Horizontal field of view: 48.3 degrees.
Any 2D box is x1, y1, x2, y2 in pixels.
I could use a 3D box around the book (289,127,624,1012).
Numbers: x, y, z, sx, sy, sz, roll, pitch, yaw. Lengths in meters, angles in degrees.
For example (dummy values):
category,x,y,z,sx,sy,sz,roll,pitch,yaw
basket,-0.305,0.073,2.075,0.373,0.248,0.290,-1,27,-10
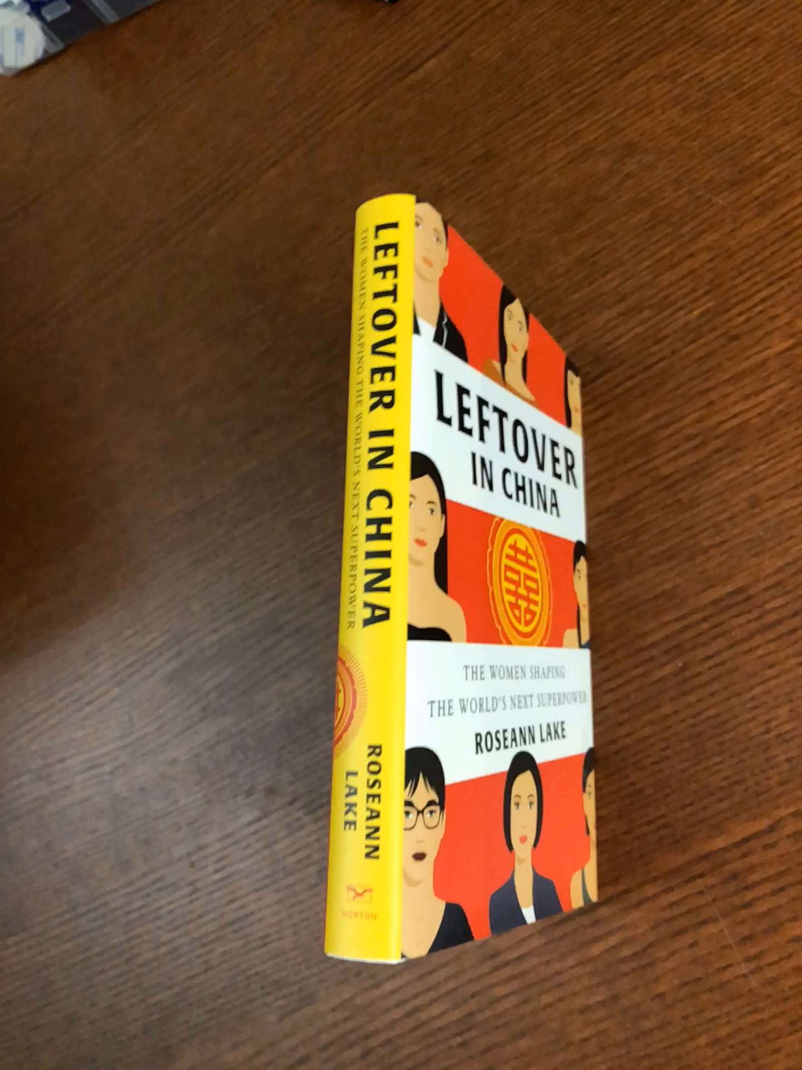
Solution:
category,x,y,z,sx,sy,sz,roll,pitch,yaw
book,0.036,0.018,0.348,0.060,0.180,0.260,-5,74,23
